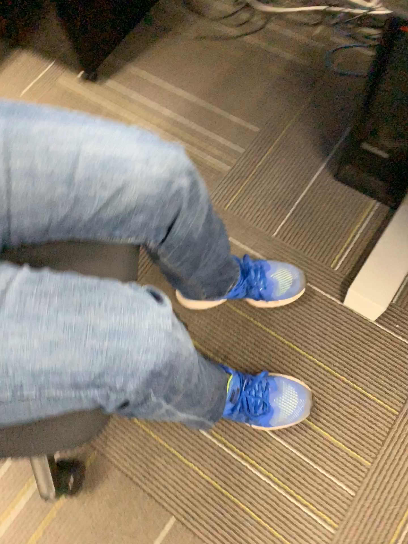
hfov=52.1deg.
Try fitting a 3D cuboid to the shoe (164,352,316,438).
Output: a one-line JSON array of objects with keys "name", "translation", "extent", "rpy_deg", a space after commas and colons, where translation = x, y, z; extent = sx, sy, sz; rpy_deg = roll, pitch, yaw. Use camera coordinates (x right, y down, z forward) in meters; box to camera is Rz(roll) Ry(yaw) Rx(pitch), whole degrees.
[{"name": "shoe", "translation": [0.073, 0.247, 0.839], "extent": [0.279, 0.083, 0.117], "rpy_deg": [7, 69, 9]}]

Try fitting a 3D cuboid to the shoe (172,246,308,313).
[{"name": "shoe", "translation": [0.076, 0.019, 0.920], "extent": [0.278, 0.083, 0.116], "rpy_deg": [-2, 68, 5]}]
